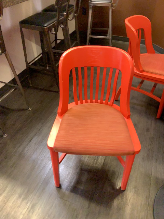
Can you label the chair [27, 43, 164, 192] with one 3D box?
[{"bbox_3d":[0.080,0.075,1.124,0.560,0.806,0.583,2,43,2],"label":"chair"}]
